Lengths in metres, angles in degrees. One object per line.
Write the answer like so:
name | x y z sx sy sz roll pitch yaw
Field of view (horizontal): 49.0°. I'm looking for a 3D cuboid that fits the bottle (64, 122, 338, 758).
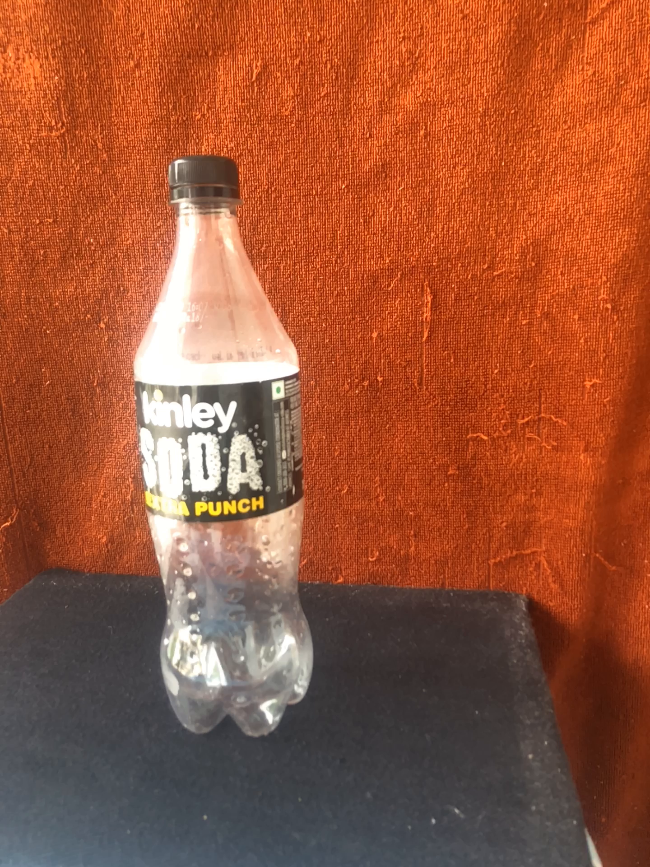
bottle | -0.046 0.005 0.324 0.090 0.259 0.070 3 15 13
